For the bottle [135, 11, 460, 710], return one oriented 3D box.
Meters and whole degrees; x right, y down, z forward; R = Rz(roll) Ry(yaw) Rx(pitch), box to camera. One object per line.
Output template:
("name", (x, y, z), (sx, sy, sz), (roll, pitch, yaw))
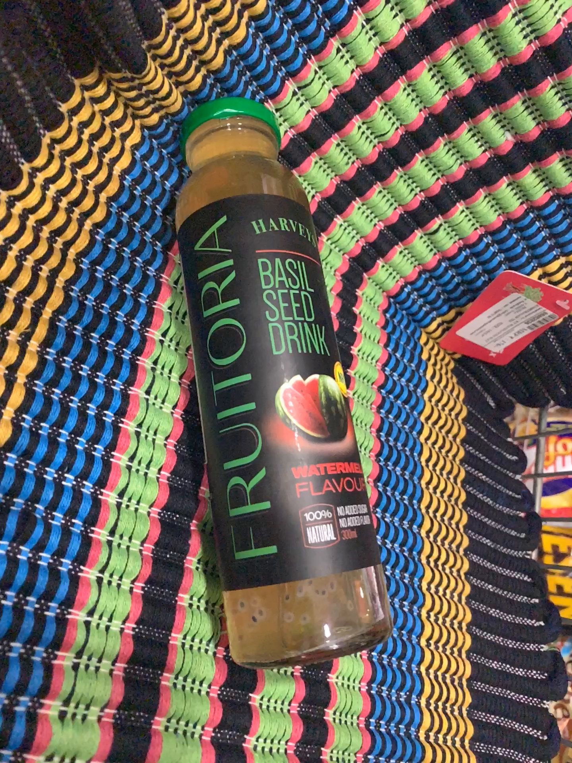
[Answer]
("bottle", (-0.006, -0.012, 0.201), (0.060, 0.060, 0.200), (-1, 74, -27))
